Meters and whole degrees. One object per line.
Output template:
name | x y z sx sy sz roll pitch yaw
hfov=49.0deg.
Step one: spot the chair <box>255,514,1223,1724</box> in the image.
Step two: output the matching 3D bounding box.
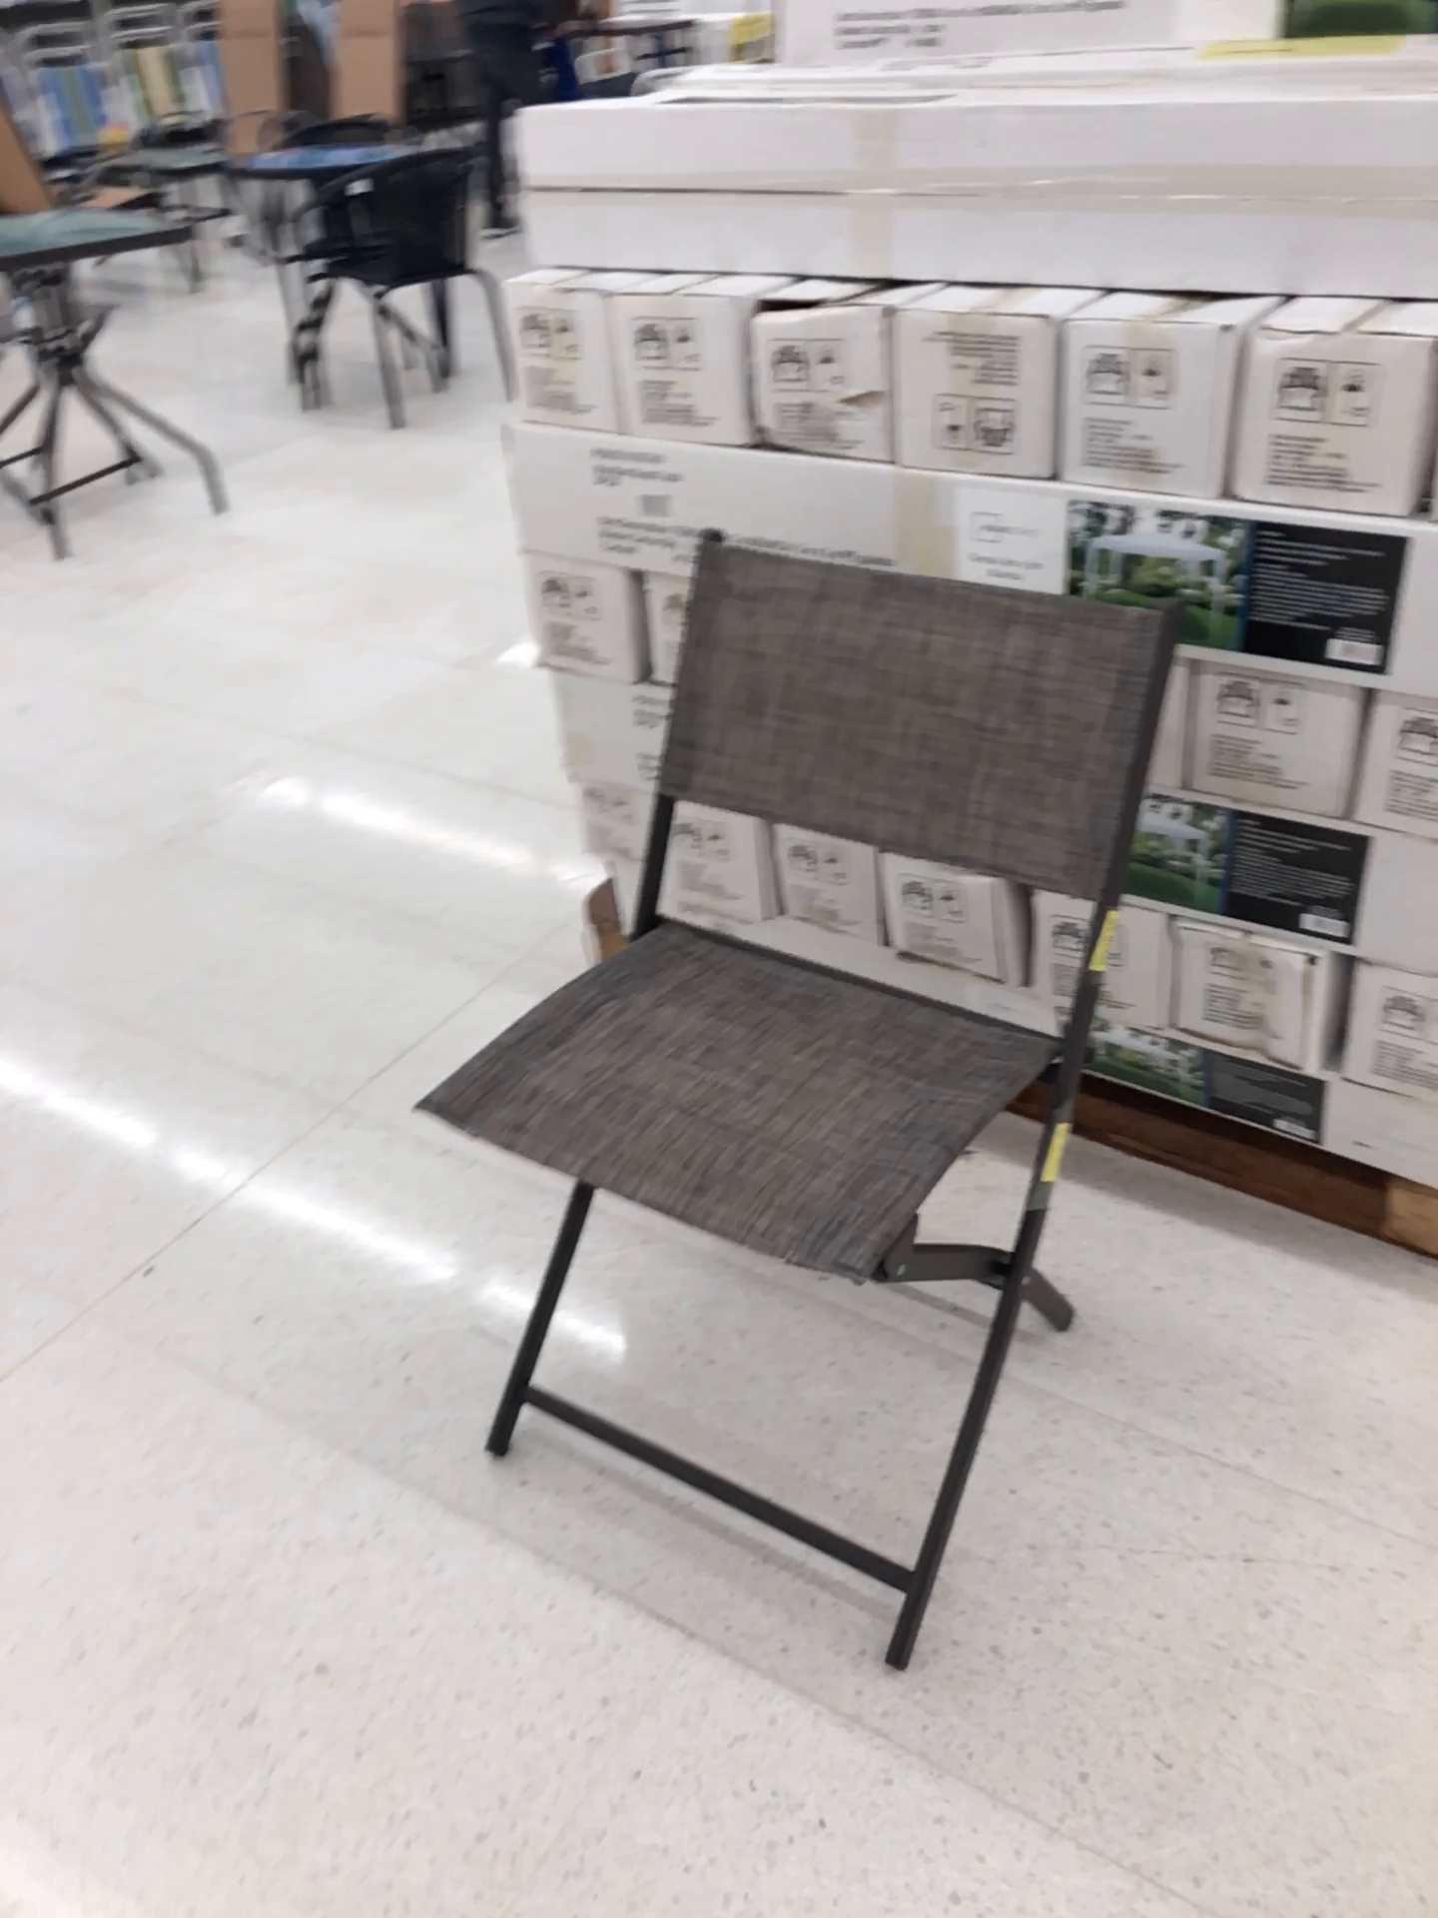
chair | 0.052 0.100 1.340 0.511 0.754 0.503 17 38 29
